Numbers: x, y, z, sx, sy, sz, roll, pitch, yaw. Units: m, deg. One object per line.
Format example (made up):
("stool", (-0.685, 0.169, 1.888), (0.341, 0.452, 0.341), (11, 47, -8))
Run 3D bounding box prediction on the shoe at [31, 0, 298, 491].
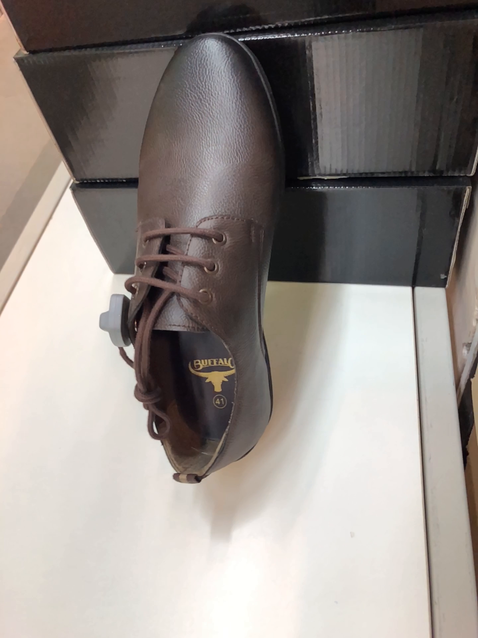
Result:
("shoe", (-0.033, -0.053, 0.335), (0.111, 0.271, 0.116), (1, 10, 20))
